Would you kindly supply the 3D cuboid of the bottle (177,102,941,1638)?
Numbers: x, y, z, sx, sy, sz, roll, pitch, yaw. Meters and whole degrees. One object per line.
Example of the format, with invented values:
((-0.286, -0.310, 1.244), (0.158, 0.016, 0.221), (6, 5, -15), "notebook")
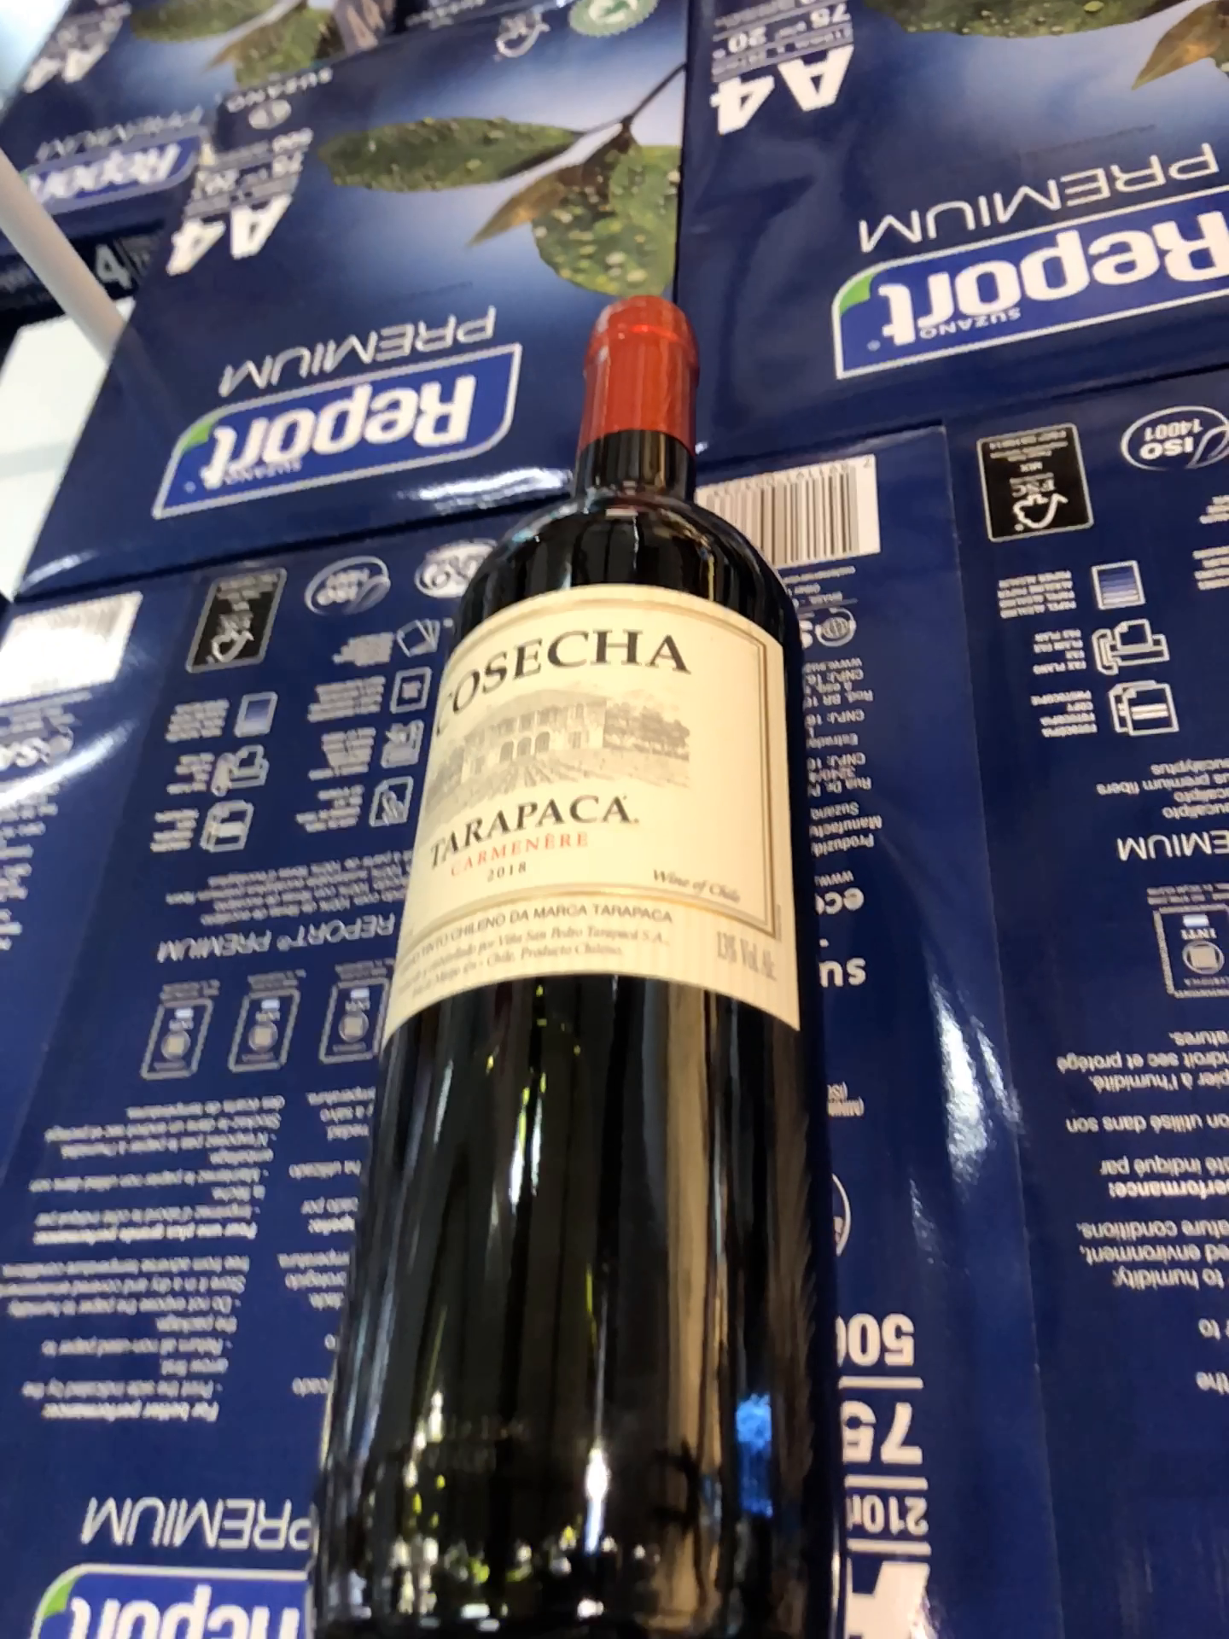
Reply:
((0.004, -0.021, 0.269), (0.080, 0.060, 0.332), (-8, 52, 15), "bottle")
